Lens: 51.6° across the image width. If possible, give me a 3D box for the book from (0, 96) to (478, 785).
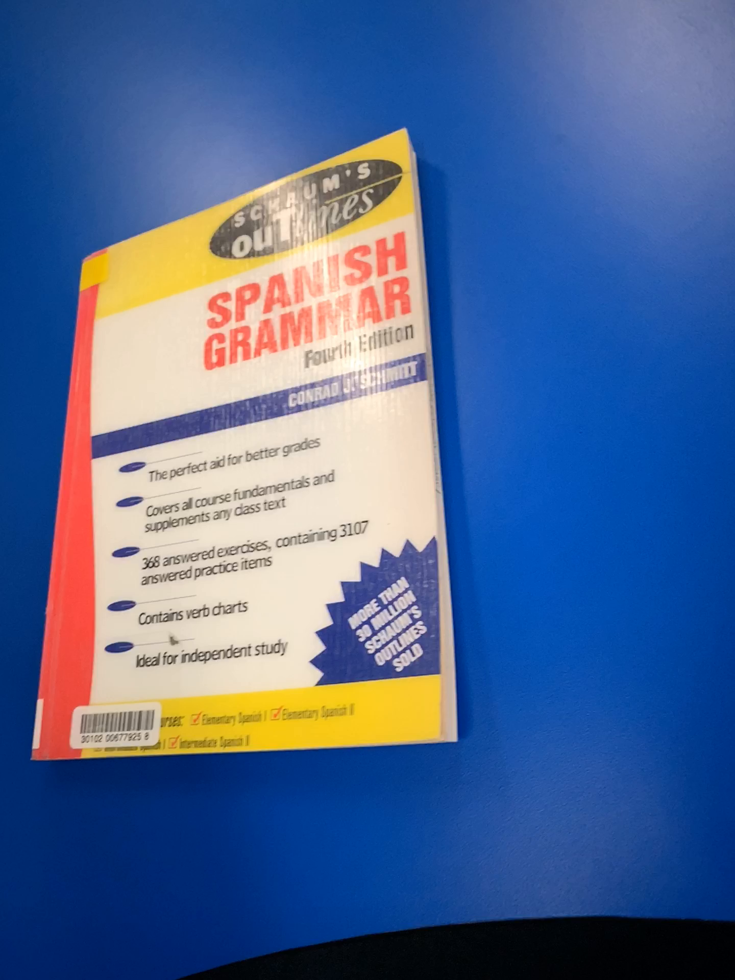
[{"bbox_3d":[-0.069,-0.019,0.348,0.211,0.040,0.281,-11,68,23],"label":"book"}]
